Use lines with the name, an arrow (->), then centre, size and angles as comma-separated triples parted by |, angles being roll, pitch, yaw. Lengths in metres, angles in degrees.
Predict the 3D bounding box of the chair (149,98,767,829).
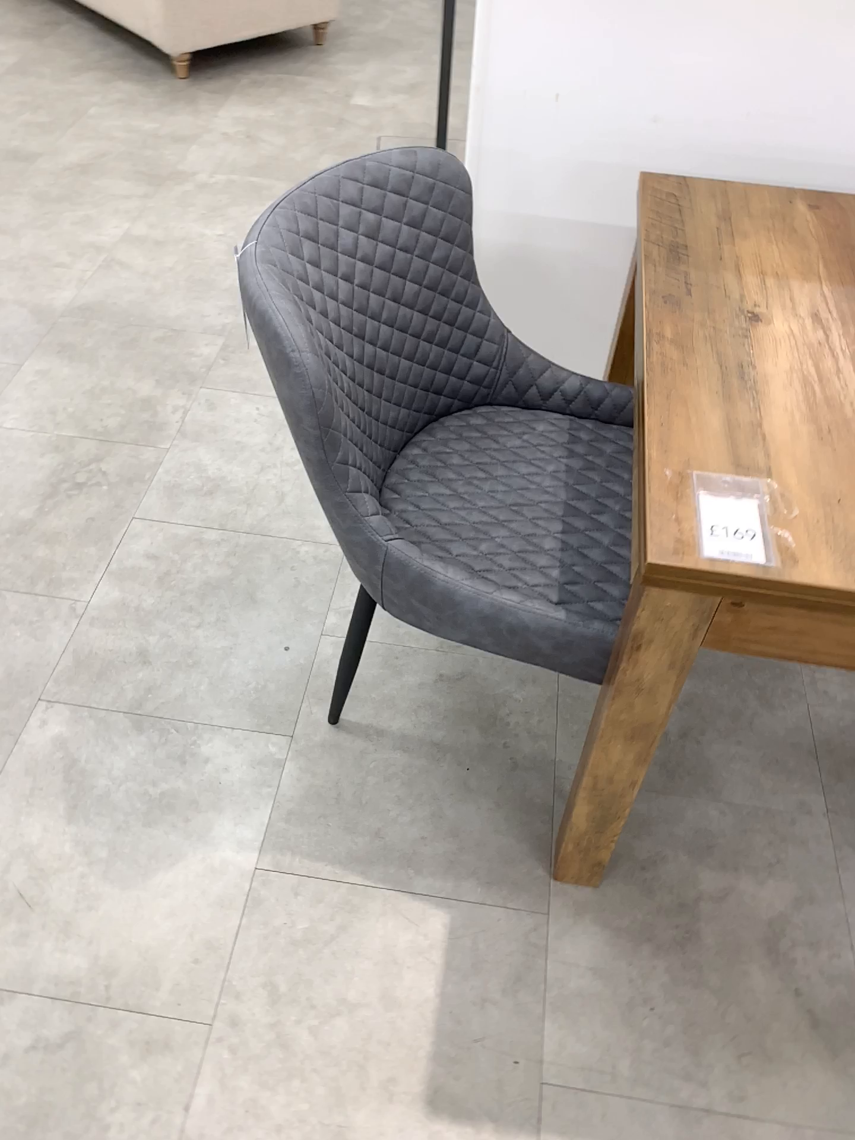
chair -> 0.061, -0.125, 1.245 | 0.550, 0.775, 0.532 | 15, 49, 11
